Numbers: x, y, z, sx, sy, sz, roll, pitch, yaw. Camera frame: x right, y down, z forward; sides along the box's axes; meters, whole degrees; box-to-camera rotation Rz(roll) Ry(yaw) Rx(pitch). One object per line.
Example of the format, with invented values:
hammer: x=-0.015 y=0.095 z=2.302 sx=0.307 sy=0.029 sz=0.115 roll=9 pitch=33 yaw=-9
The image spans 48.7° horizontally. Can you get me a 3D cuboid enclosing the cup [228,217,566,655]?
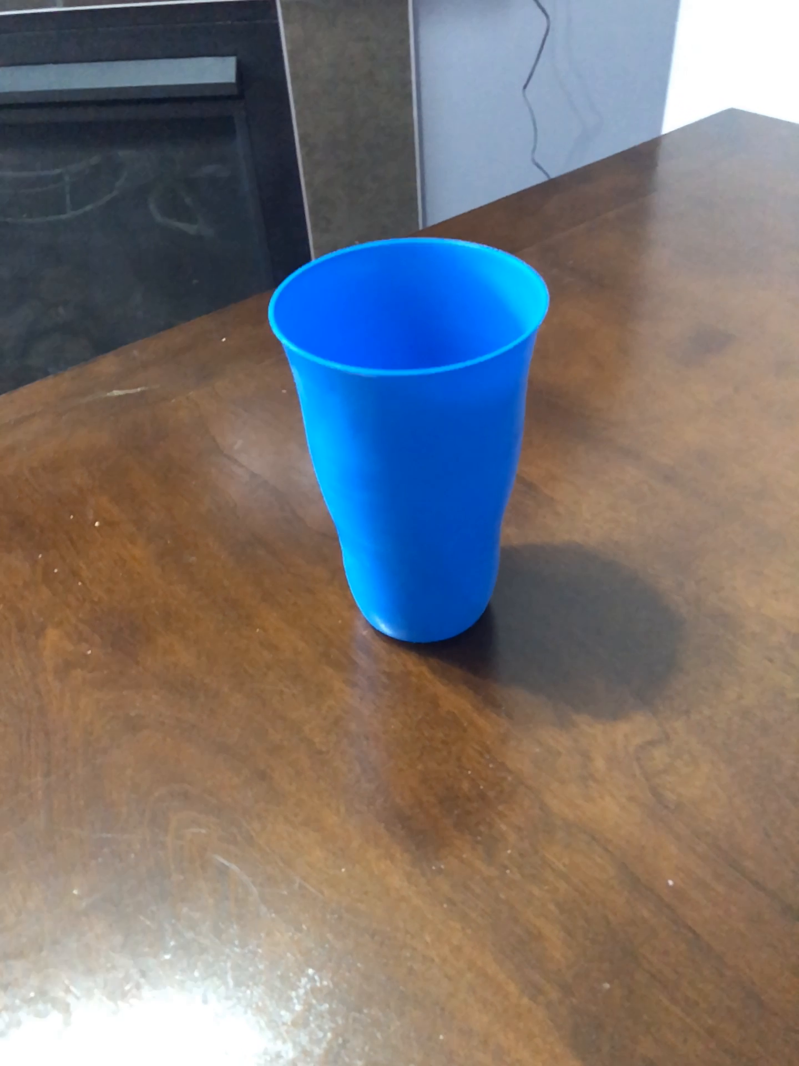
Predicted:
cup: x=0.008 y=-0.038 z=0.340 sx=0.100 sy=0.130 sz=0.100 roll=-2 pitch=41 yaw=2
